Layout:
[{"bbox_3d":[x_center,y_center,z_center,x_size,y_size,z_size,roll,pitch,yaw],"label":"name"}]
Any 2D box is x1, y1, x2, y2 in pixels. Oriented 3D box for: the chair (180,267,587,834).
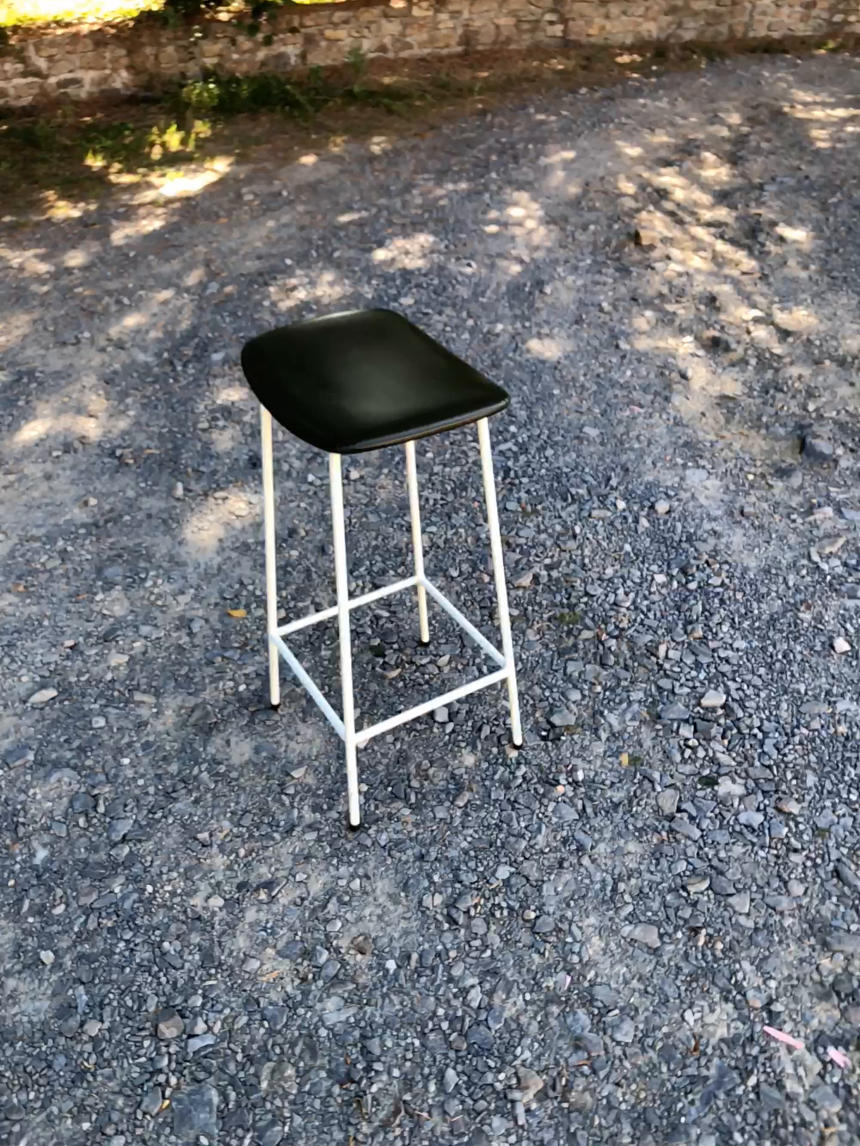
[{"bbox_3d":[-0.064,-0.030,1.371,0.371,0.646,0.371,-22,44,-23],"label":"chair"}]
